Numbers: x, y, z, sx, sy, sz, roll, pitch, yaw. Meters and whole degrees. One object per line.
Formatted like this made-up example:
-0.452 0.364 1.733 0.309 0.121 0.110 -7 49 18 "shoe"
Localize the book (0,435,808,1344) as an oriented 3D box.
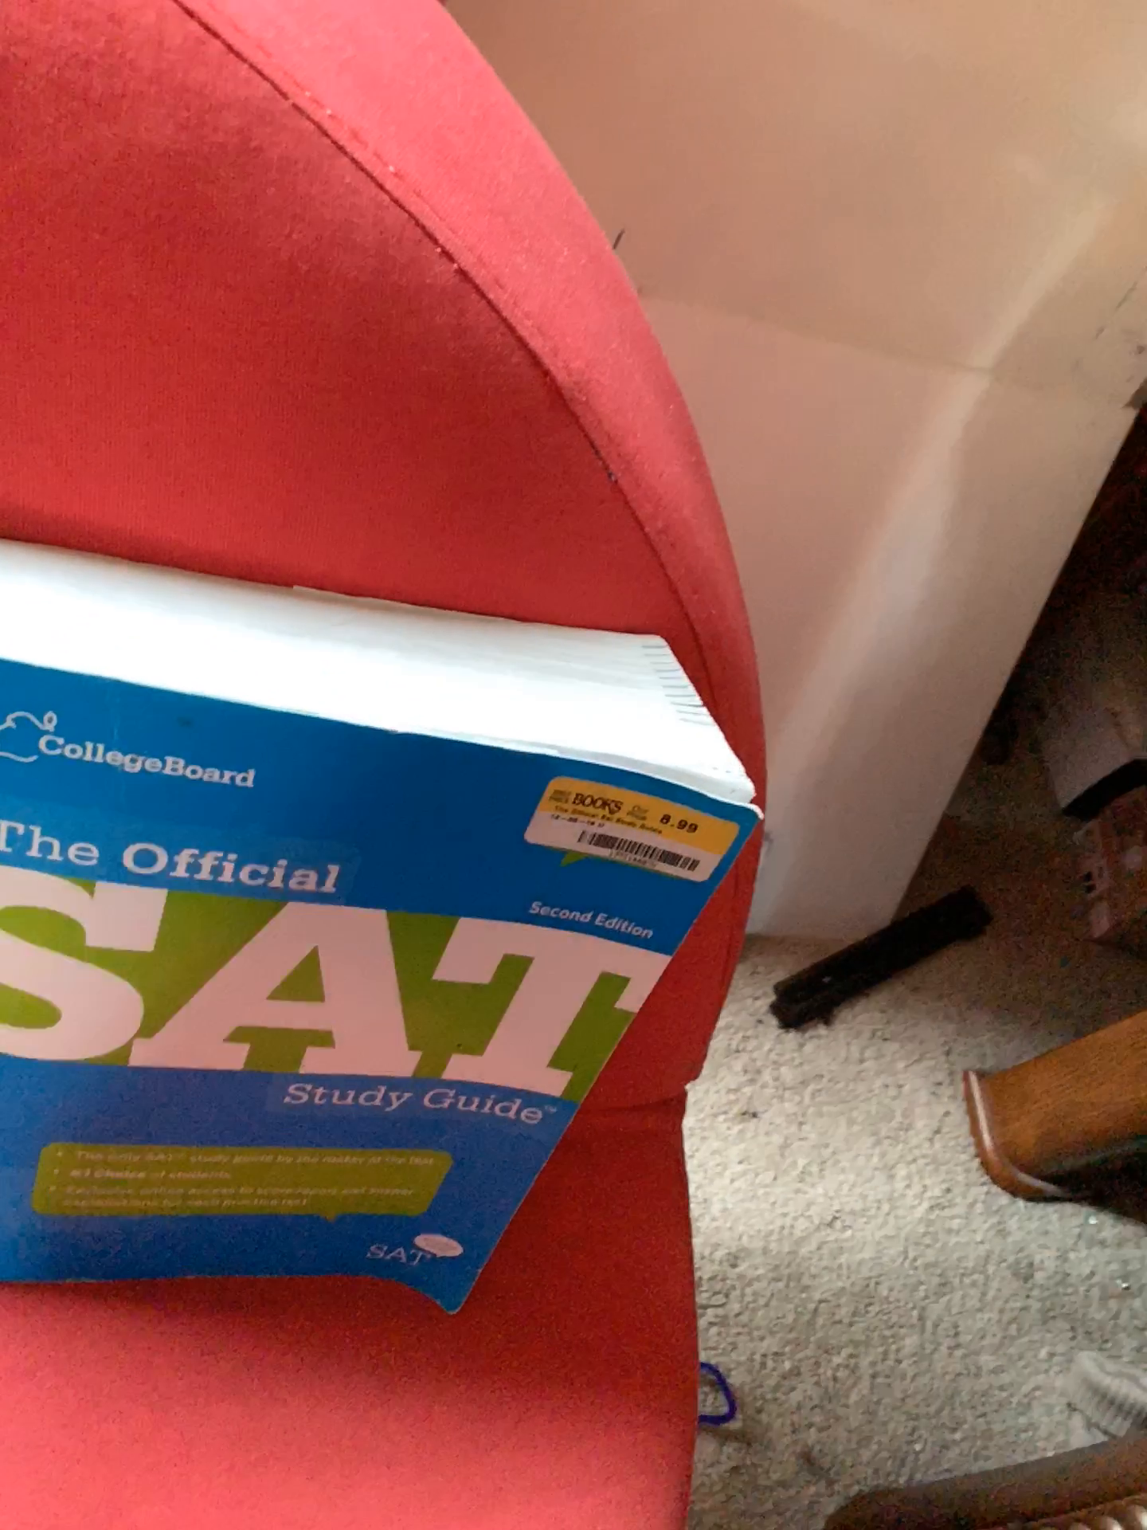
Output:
-0.095 0.065 0.363 0.230 0.259 0.080 11 32 -18 "book"
